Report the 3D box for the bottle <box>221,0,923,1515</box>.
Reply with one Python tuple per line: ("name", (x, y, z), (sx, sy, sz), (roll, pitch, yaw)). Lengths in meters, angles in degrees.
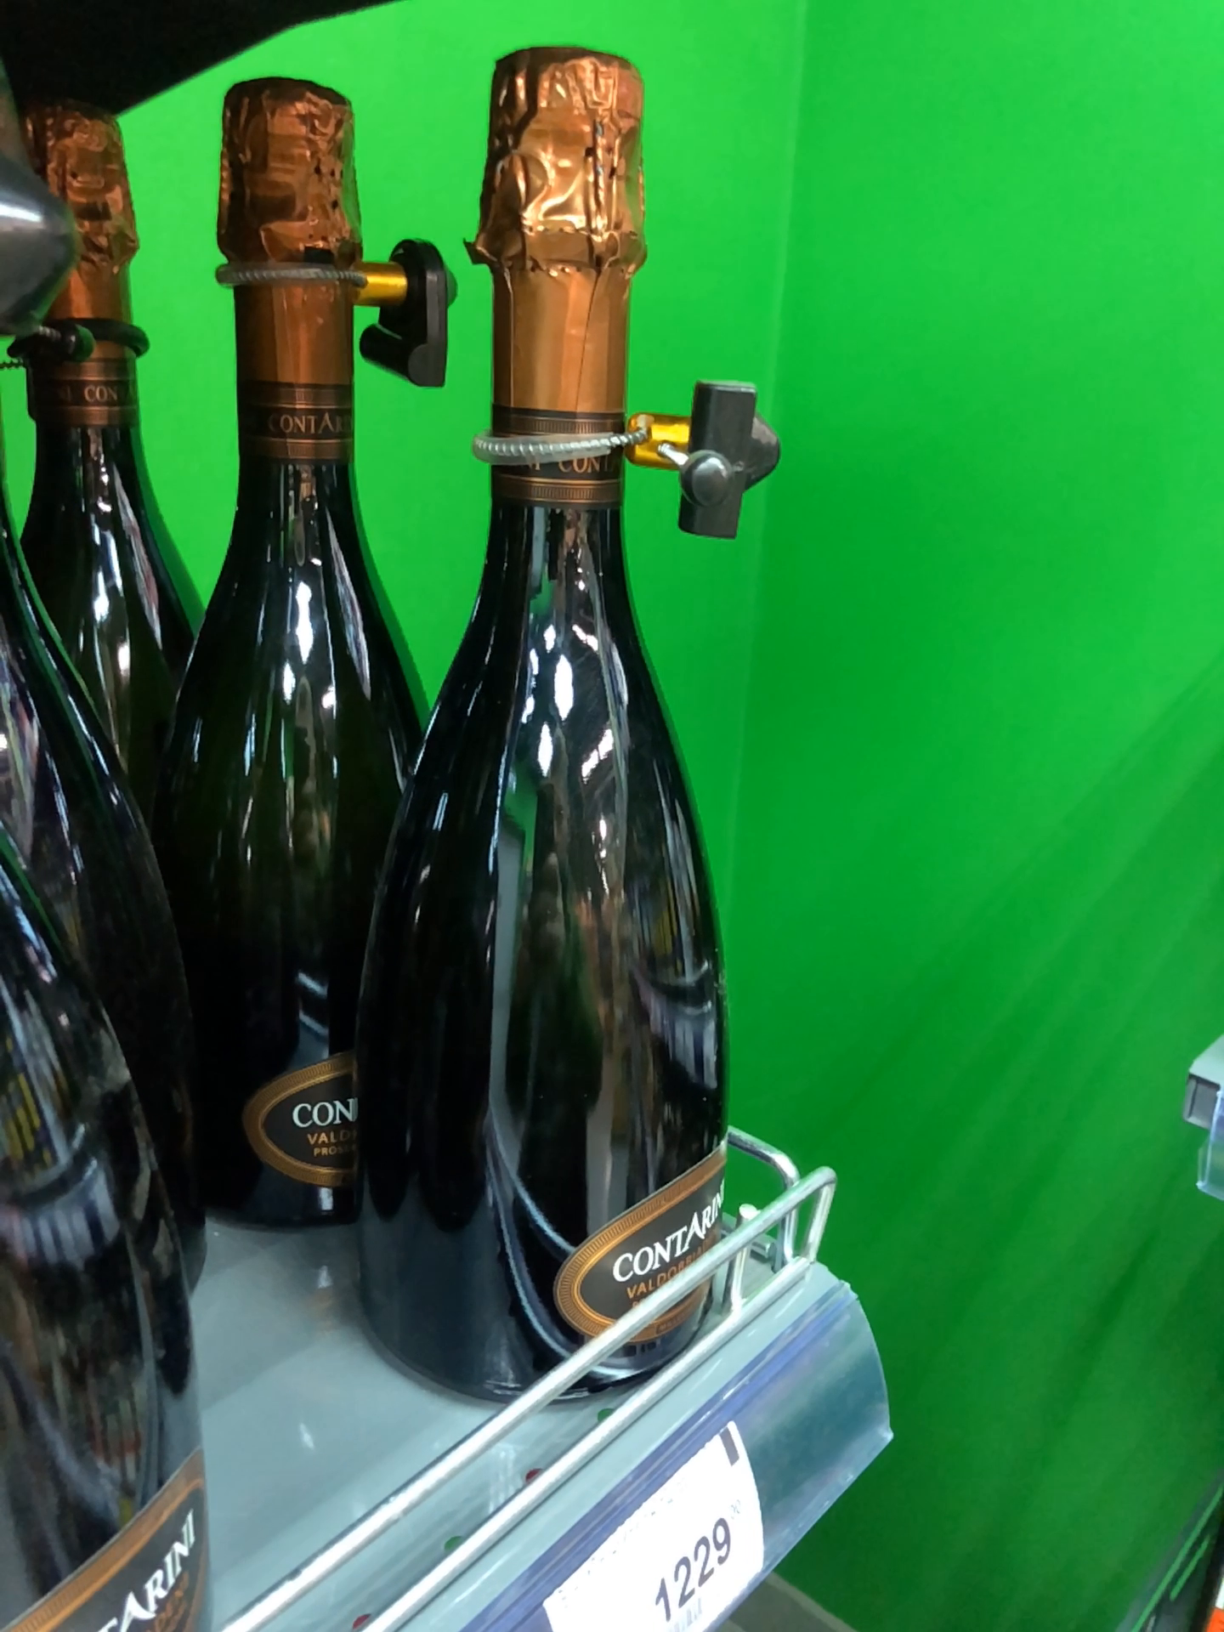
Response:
("bottle", (-0.013, -0.013, 0.315), (0.100, 0.299, 0.100), (3, 17, -1))
